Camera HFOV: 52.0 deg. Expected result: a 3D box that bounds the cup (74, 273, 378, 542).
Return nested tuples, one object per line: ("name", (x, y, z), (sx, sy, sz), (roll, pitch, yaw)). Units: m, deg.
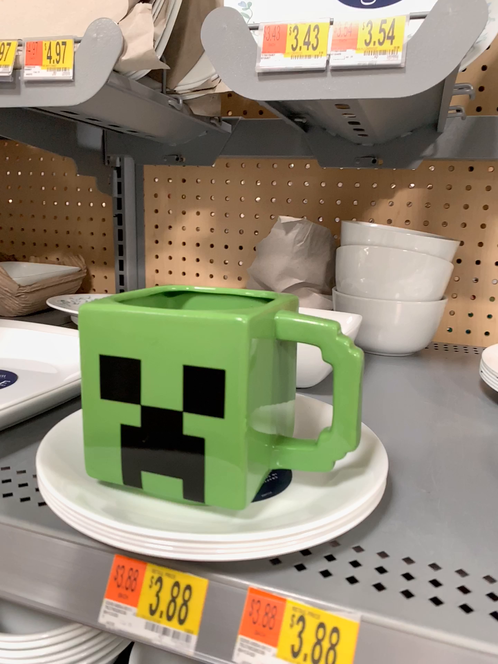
("cup", (-0.008, 0.028, 0.300), (0.142, 0.104, 0.106), (7, 14, 19))
